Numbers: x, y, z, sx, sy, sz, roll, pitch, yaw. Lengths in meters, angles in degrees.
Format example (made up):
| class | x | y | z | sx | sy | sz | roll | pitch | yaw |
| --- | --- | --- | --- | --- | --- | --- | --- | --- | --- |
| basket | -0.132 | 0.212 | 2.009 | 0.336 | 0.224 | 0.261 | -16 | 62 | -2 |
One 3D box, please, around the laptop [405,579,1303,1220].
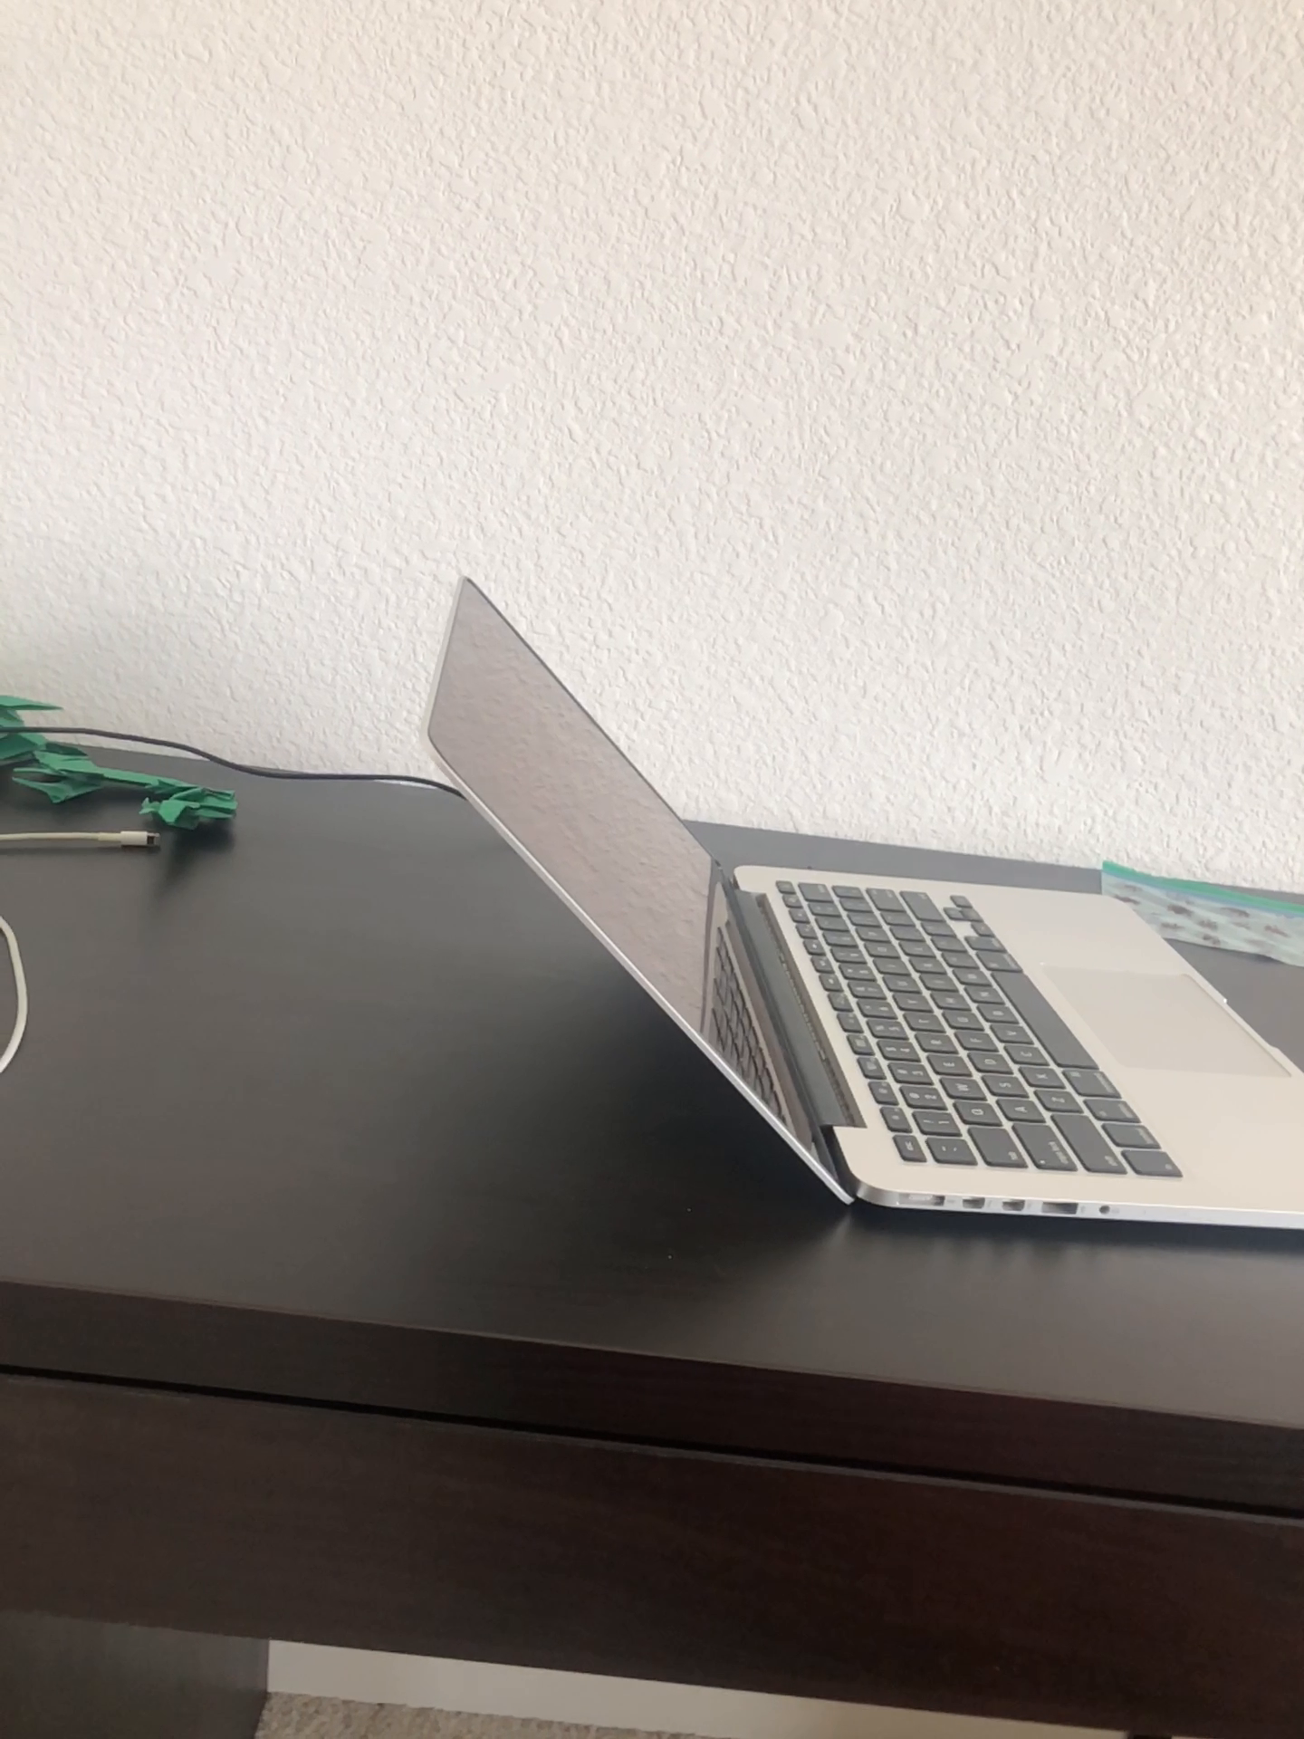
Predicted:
| class | x | y | z | sx | sy | sz | roll | pitch | yaw |
| --- | --- | --- | --- | --- | --- | --- | --- | --- | --- |
| laptop | 0.094 | -0.011 | 0.606 | 0.362 | 0.133 | 0.310 | 5 | 20 | -6 |
